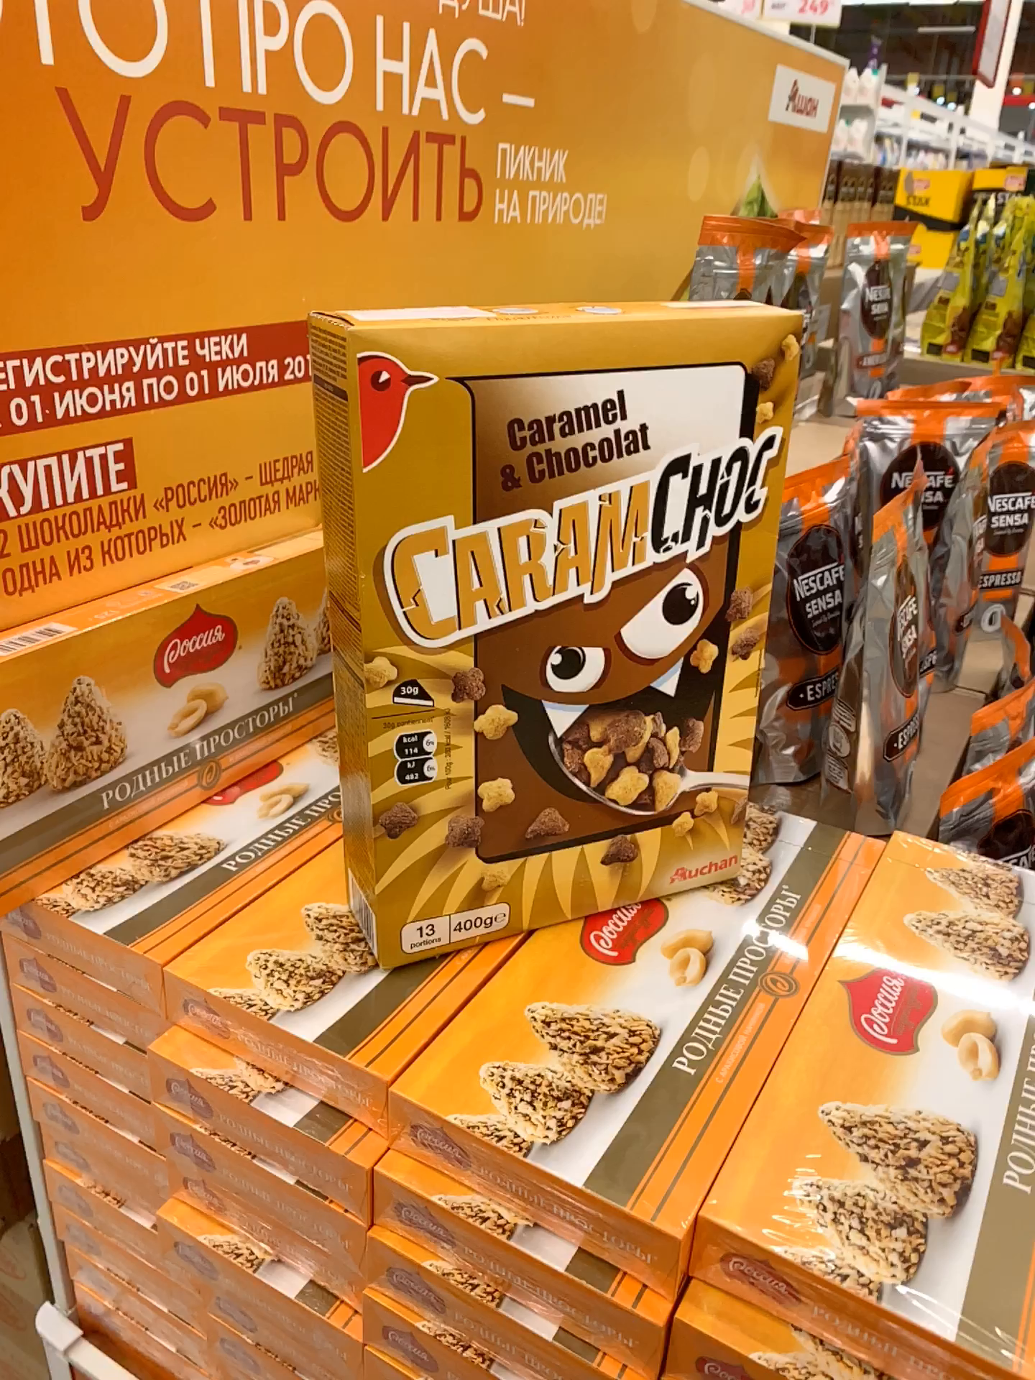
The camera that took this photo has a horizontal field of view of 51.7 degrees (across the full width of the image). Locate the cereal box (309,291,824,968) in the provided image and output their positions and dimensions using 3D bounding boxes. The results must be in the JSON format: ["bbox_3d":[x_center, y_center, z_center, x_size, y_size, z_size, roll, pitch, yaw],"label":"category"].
[{"bbox_3d":[0.020,-0.029,0.485,0.200,0.278,0.060,-9,26,-22],"label":"cereal box"}]
